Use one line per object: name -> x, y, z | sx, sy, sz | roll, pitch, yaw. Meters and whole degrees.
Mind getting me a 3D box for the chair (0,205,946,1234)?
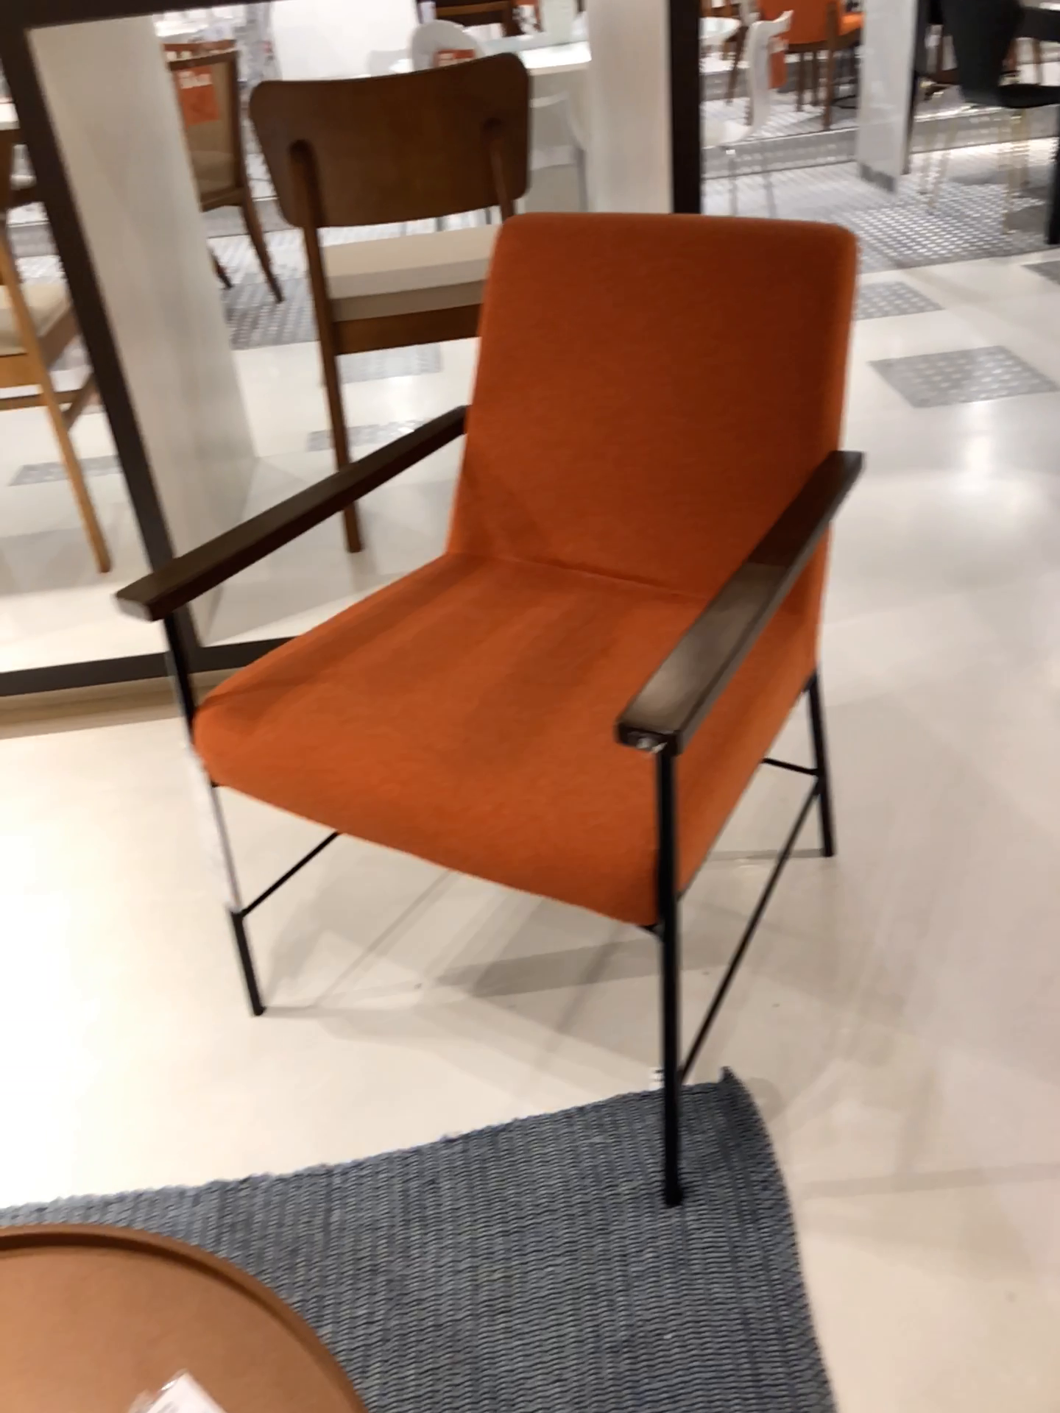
chair -> 0.016, -0.061, 1.352 | 0.651, 0.824, 0.704 | 14, 39, 28
